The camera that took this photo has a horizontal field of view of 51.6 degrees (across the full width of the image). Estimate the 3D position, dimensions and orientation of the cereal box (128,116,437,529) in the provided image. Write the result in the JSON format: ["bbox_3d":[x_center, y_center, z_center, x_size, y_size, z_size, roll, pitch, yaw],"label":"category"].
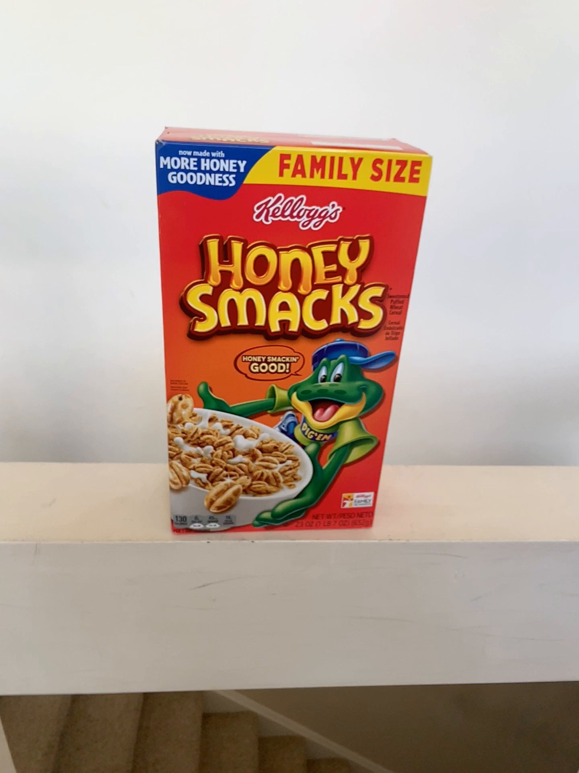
[{"bbox_3d":[-0.016,-0.043,0.526,0.210,0.338,0.101,0,27,-7],"label":"cereal box"}]
